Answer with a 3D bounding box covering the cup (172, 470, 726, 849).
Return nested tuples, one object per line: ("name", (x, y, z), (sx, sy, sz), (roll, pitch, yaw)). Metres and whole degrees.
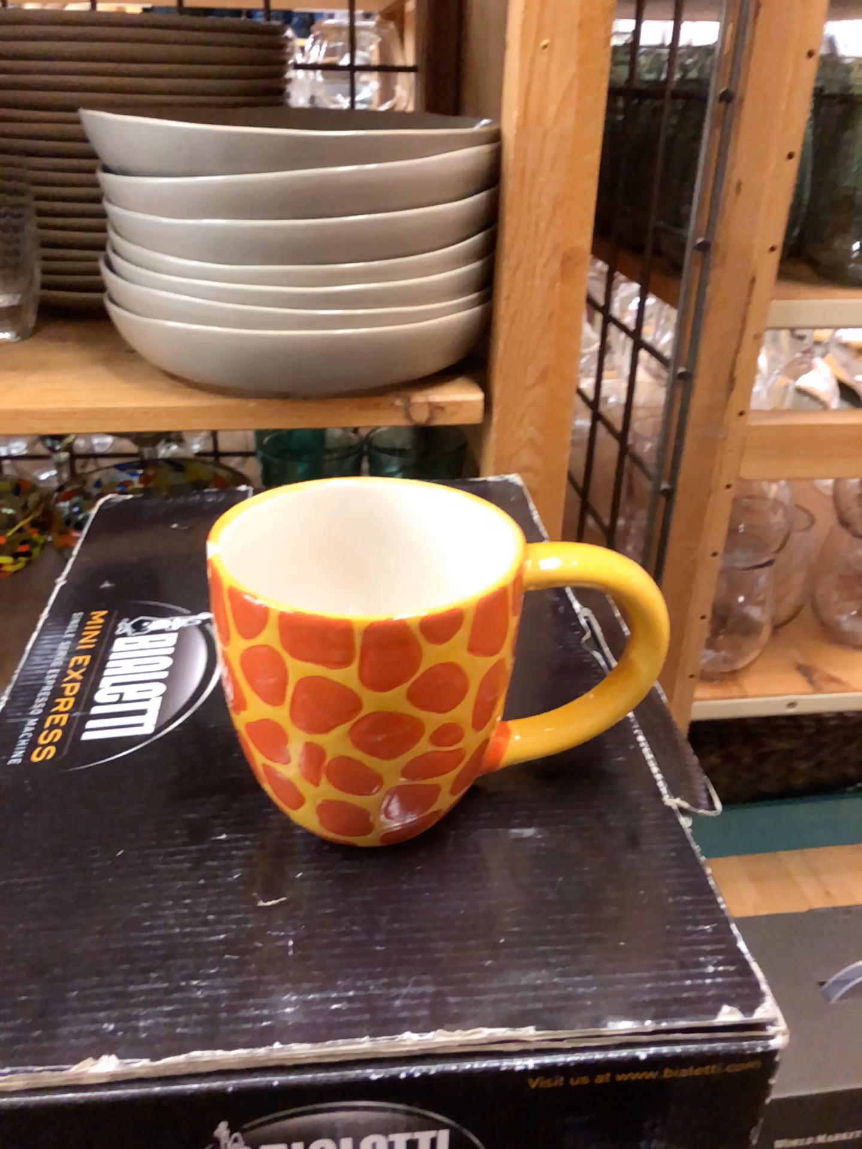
("cup", (0.000, 0.019, 0.289), (0.134, 0.067, 0.103), (0, 28, -6))
